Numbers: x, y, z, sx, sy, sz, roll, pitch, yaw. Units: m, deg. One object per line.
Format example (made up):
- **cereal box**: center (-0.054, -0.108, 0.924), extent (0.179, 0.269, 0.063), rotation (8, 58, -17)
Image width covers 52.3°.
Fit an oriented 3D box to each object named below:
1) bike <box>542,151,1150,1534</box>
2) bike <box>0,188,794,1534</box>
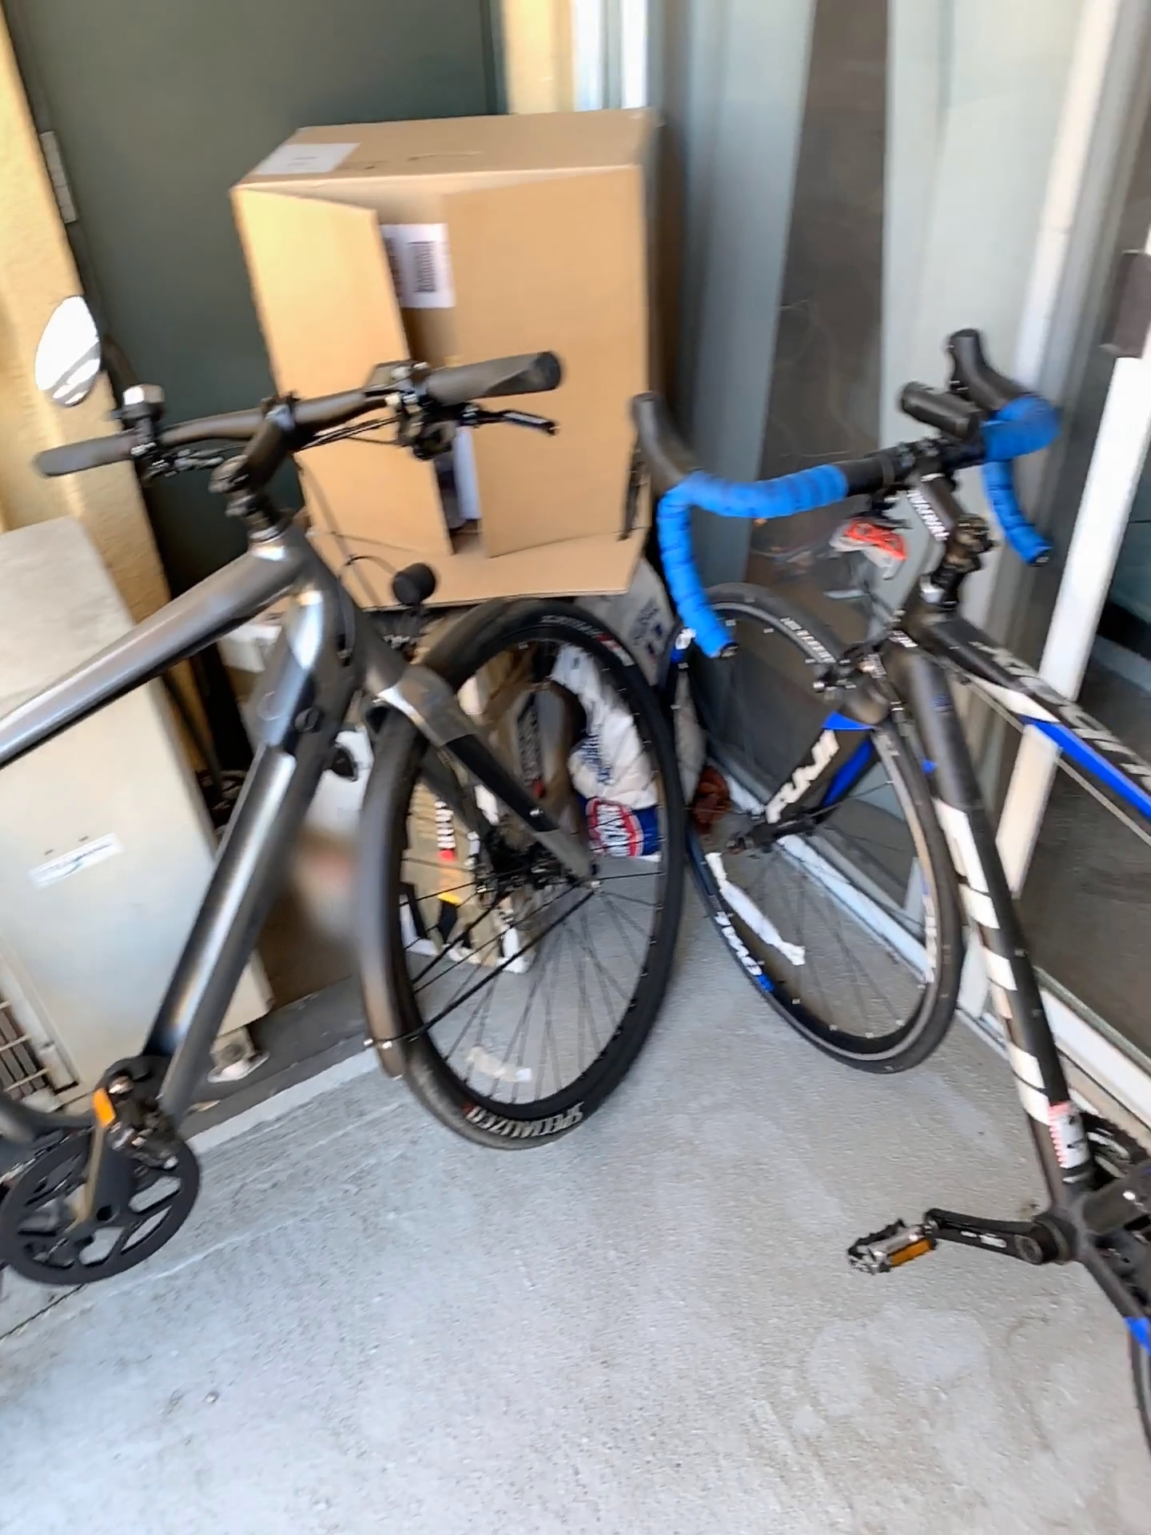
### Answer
- **bike**: center (0.471, 0.216, 1.035), extent (0.363, 0.932, 1.509), rotation (-18, 46, -18)
- **bike**: center (-0.558, 0.100, 1.227), extent (1.585, 0.971, 0.624), rotation (-28, 45, -30)
